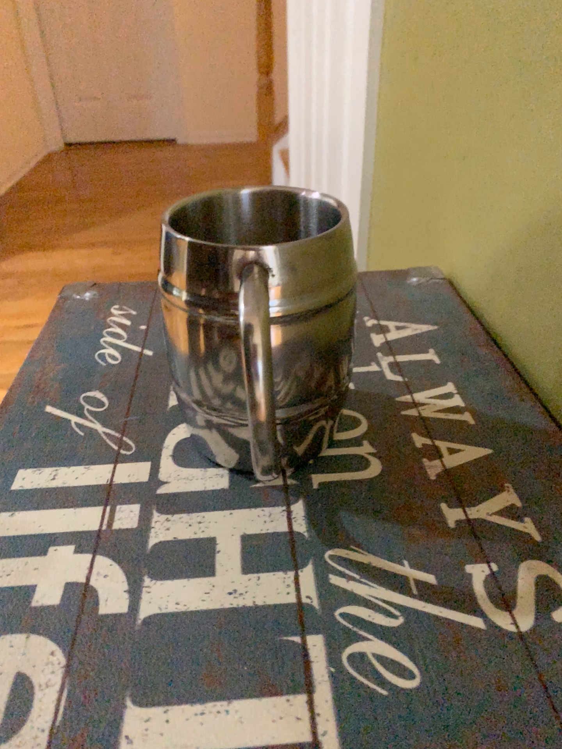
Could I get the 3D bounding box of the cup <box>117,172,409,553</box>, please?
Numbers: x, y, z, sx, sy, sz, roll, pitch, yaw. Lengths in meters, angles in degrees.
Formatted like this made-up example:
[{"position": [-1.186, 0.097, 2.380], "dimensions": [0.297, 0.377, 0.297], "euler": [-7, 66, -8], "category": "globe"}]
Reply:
[{"position": [-0.008, -0.014, 0.260], "dimensions": [0.088, 0.113, 0.130], "euler": [-4, 33, -3], "category": "cup"}]
